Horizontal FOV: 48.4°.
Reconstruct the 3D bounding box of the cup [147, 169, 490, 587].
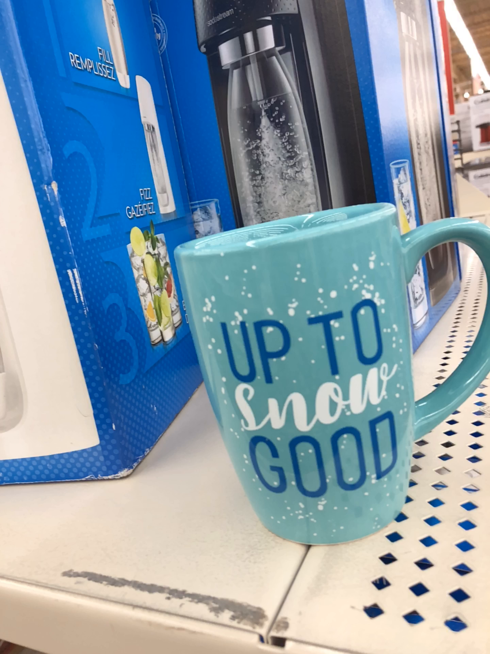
[{"bbox_3d":[0.044,0.009,0.235,0.140,0.120,0.090,-14,13,-12],"label":"cup"}]
